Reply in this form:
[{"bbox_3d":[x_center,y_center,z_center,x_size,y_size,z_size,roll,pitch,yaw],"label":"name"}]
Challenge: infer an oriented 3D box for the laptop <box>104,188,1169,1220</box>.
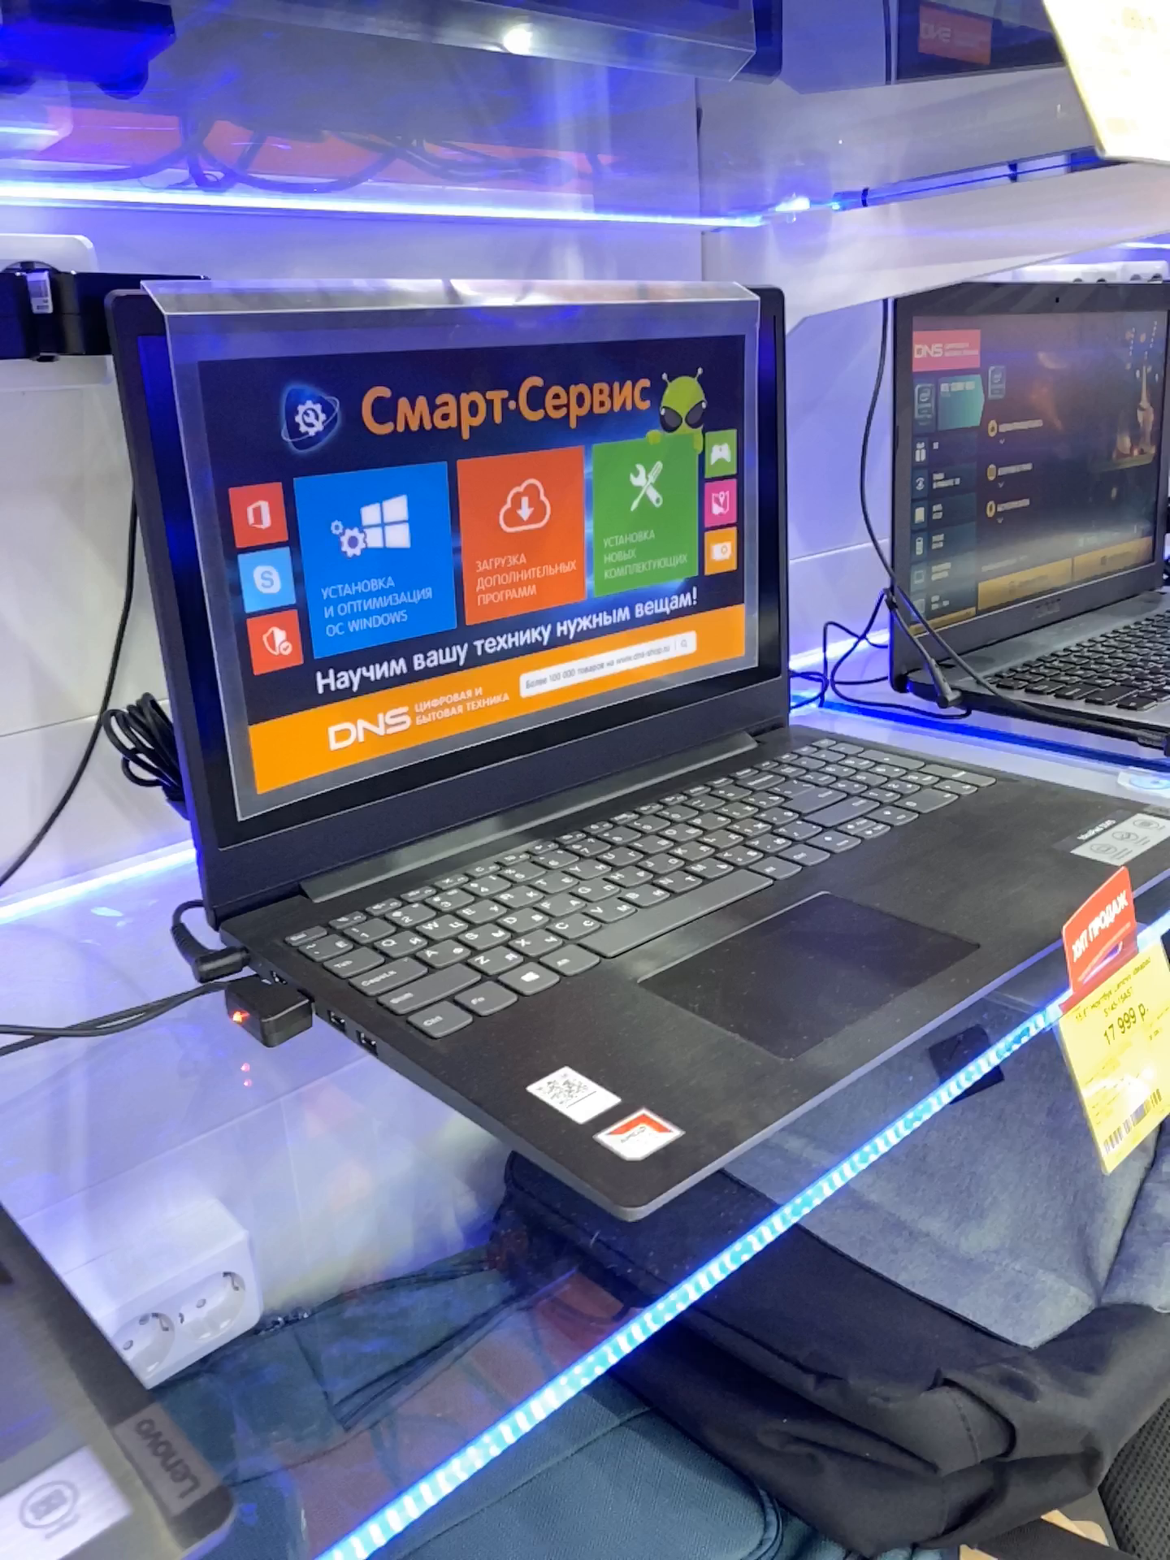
[{"bbox_3d":[0.058,-0.072,0.473,0.362,0.239,0.258,-17,23,-38],"label":"laptop"}]
